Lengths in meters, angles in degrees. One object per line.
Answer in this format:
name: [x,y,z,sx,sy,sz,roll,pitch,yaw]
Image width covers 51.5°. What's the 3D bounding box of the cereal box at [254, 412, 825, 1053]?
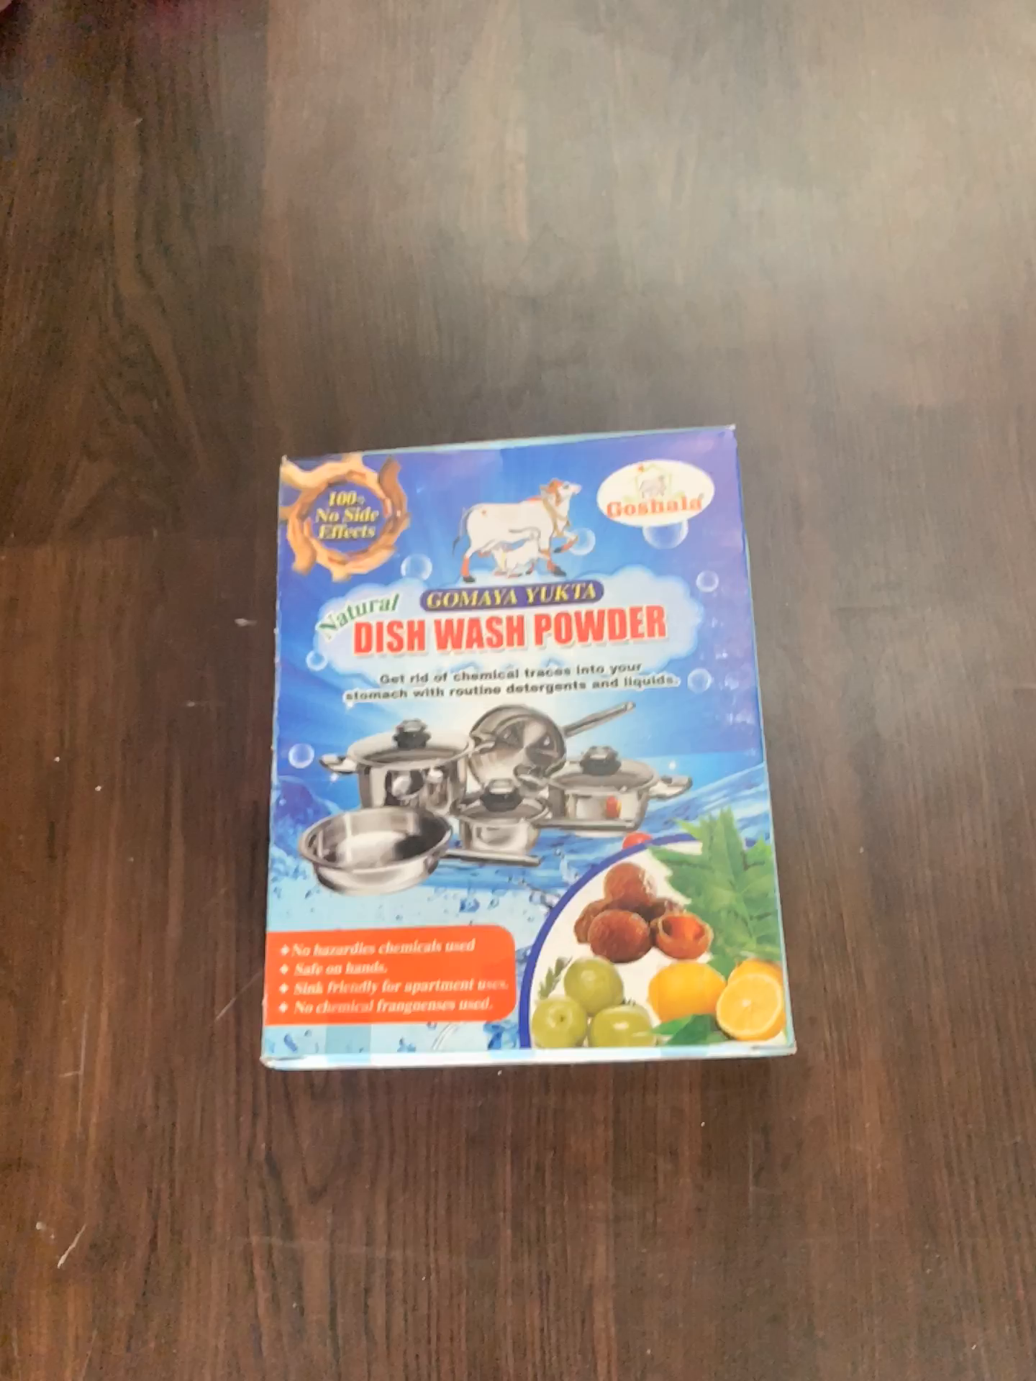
cereal box: [0.005,0.015,0.316,0.140,0.060,0.170,-3,72,6]
